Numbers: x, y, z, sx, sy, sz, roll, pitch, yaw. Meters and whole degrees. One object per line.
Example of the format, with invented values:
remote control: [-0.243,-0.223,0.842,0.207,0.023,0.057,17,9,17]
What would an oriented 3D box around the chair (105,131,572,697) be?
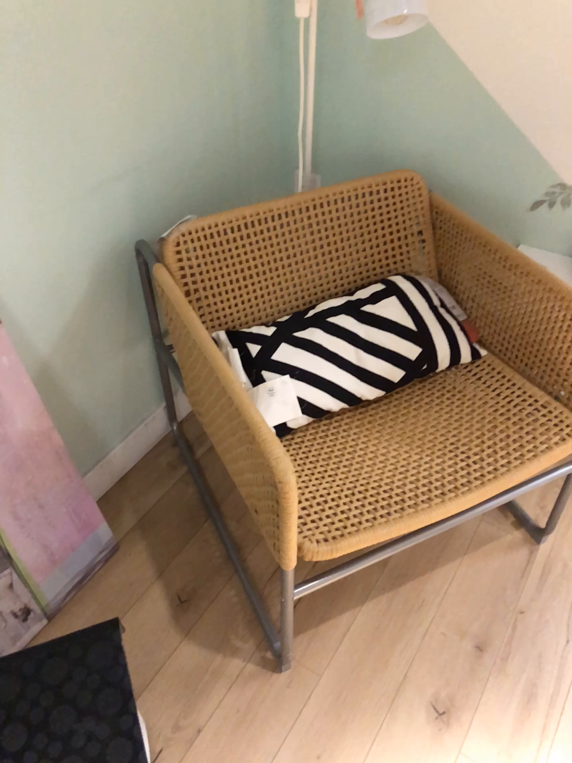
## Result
chair: [0.174,-0.007,1.311,0.791,0.627,0.752,-19,45,-19]
